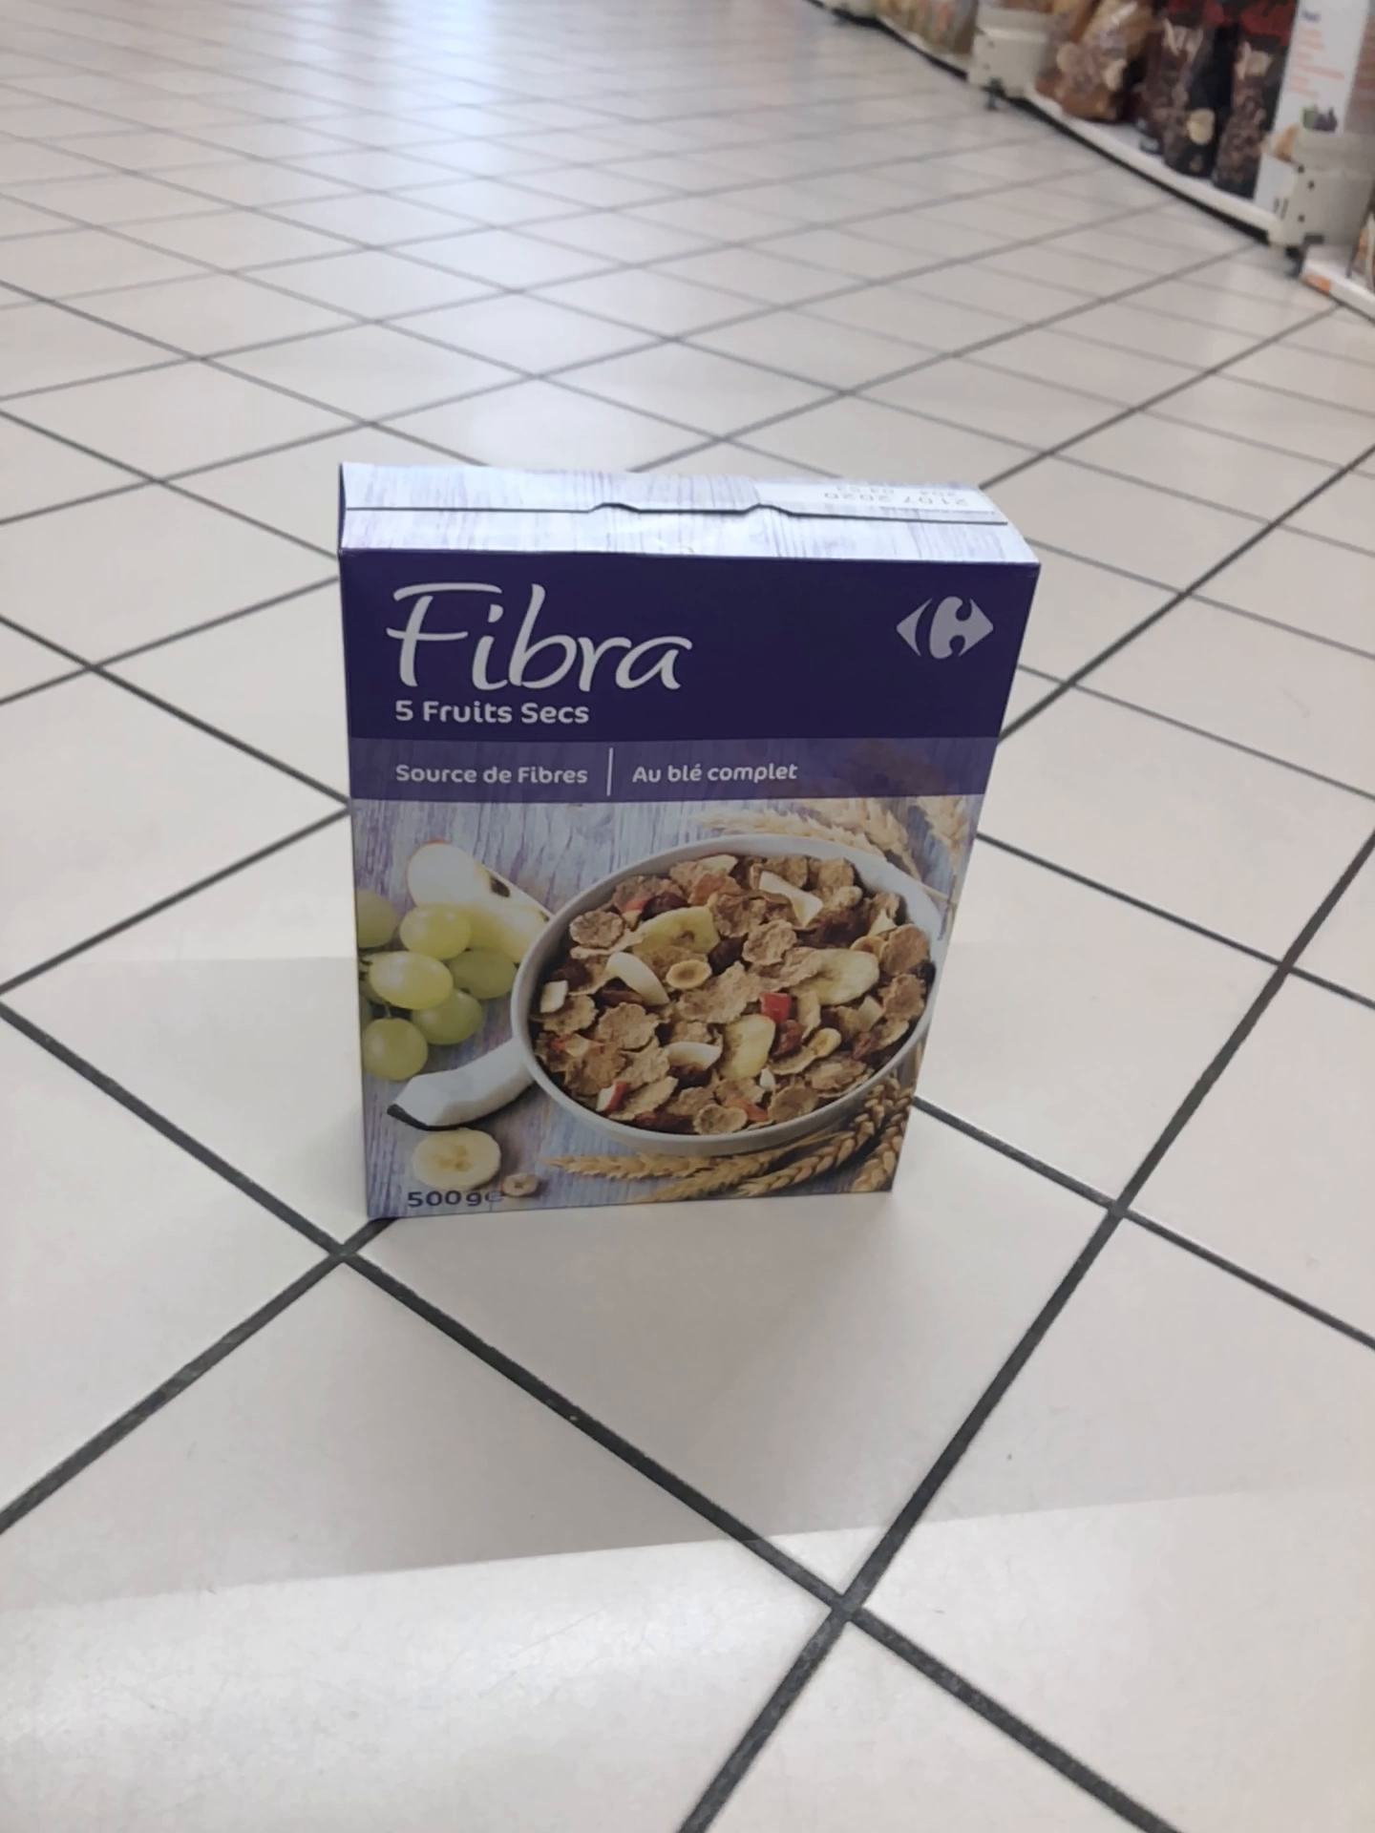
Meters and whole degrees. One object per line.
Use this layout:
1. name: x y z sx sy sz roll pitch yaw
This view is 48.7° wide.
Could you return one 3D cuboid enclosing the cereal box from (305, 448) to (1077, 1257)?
1. cereal box: -0.013 -0.011 0.511 0.210 0.258 0.080 -1 35 -11
